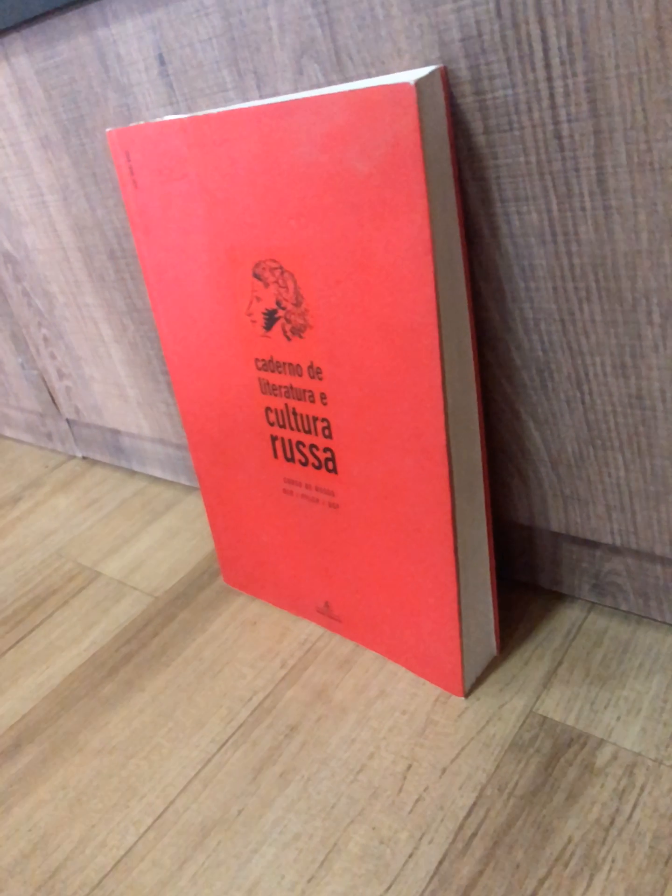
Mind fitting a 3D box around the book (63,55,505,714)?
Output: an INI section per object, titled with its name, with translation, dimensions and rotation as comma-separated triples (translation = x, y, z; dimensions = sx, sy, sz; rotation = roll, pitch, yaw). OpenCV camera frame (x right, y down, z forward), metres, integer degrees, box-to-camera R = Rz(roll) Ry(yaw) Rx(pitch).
[book]
translation = -0.024, -0.024, 0.341
dimensions = 0.188, 0.248, 0.040
rotation = 13, 33, 42
